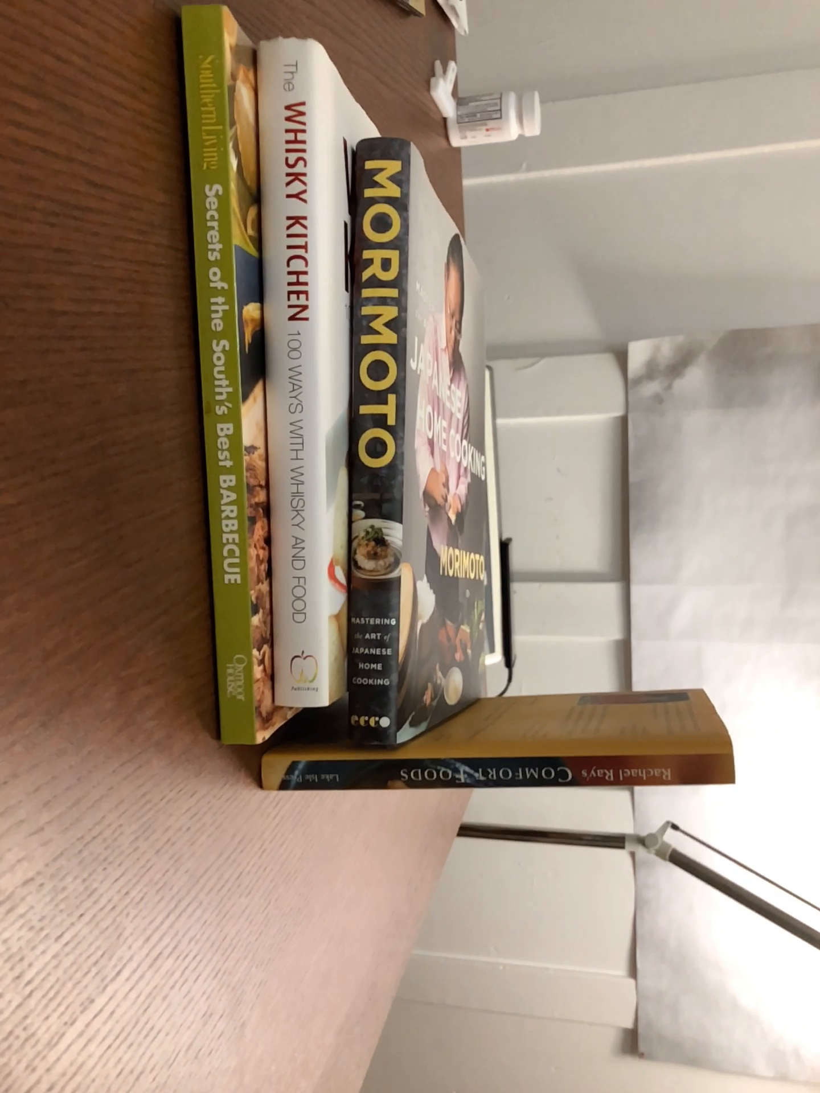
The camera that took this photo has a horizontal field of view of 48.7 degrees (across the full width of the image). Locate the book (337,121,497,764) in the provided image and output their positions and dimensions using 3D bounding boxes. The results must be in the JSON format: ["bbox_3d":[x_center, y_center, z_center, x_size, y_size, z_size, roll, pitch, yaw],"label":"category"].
[{"bbox_3d":[0.013,-0.044,0.504,0.221,0.030,0.280,5,85,-75],"label":"book"}]

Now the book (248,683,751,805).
[{"bbox_3d":[0.055,0.097,0.479,0.211,0.209,0.030,16,72,-76],"label":"book"}]

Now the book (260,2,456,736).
[{"bbox_3d":[-0.014,-0.072,0.459,0.221,0.030,0.280,-14,105,-75],"label":"book"}]

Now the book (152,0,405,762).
[{"bbox_3d":[-0.048,-0.069,0.441,0.221,0.030,0.280,-23,113,-74],"label":"book"}]
